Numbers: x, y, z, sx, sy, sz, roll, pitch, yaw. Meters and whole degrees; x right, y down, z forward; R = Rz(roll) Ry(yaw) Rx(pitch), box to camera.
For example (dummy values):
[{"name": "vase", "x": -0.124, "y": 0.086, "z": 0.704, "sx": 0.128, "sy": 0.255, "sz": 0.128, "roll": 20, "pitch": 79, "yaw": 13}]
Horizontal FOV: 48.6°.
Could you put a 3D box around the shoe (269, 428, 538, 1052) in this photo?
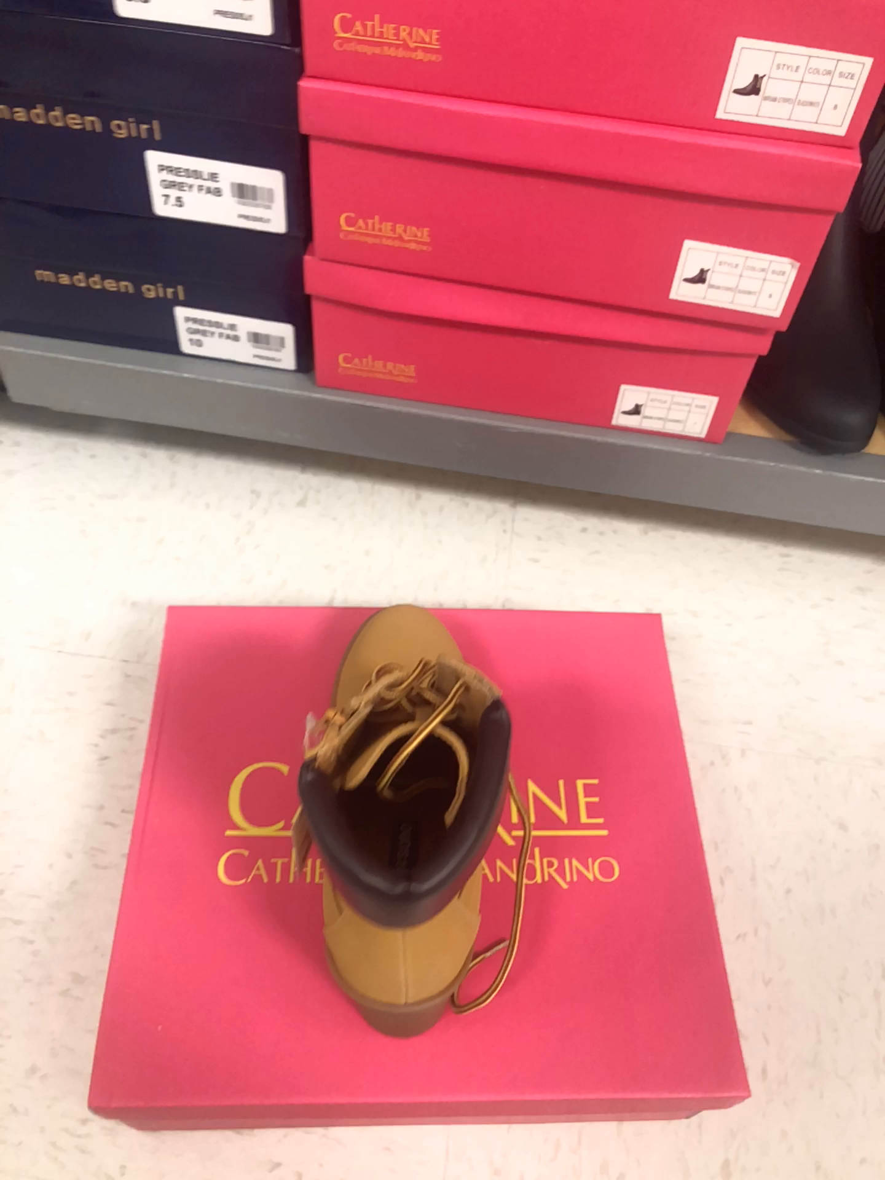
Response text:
[{"name": "shoe", "x": -0.013, "y": 0.069, "z": 0.440, "sx": 0.085, "sy": 0.170, "sz": 0.218, "roll": 4, "pitch": 53, "yaw": -2}]
